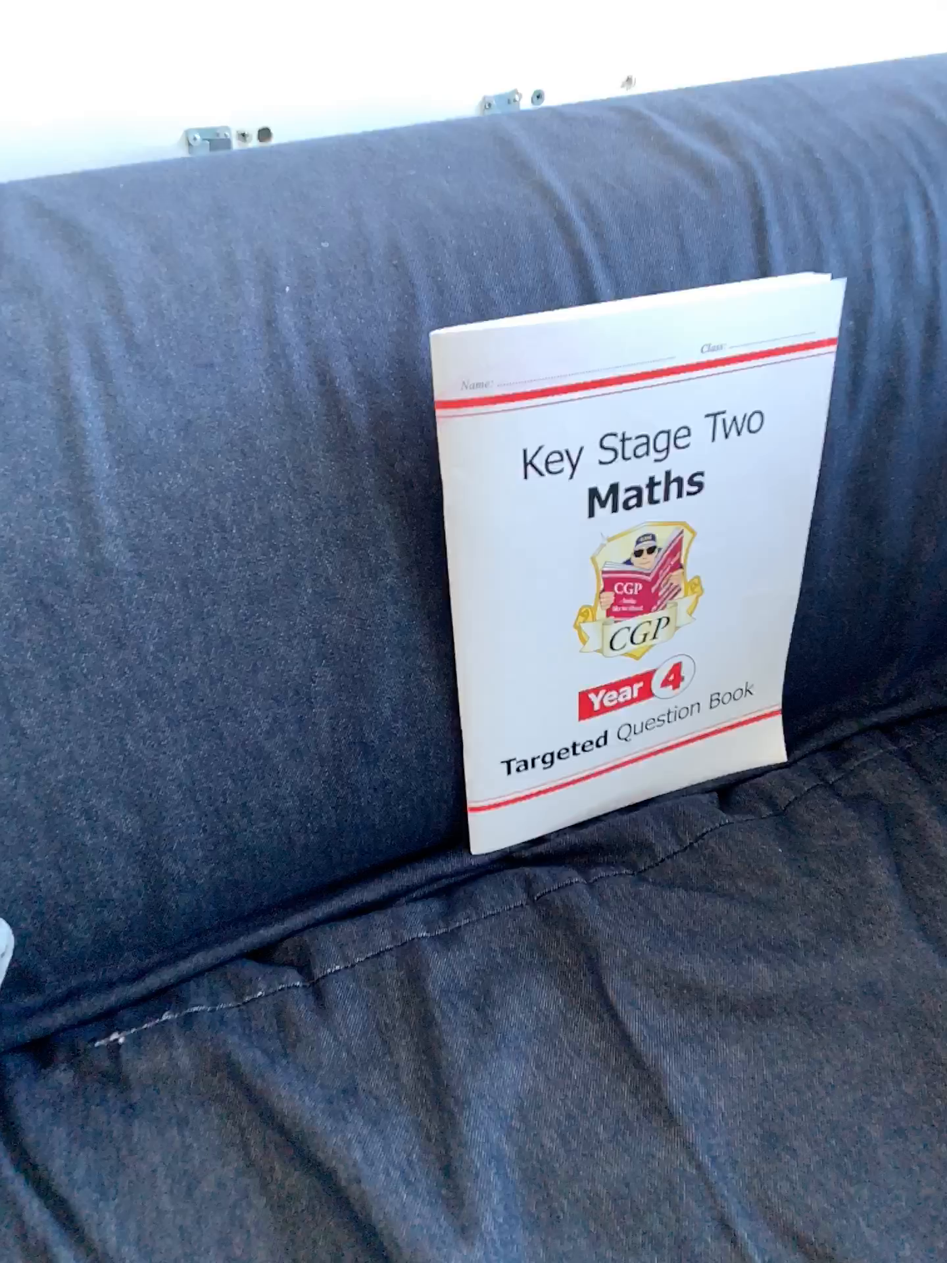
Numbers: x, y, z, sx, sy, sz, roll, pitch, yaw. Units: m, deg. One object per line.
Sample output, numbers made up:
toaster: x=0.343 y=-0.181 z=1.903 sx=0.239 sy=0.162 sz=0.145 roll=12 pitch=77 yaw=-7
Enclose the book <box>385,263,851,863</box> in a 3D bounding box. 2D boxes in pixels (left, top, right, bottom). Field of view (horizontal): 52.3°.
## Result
book: x=0.085 y=-0.031 z=0.492 sx=0.220 sy=0.266 sz=0.030 roll=-14 pitch=25 yaw=-15
